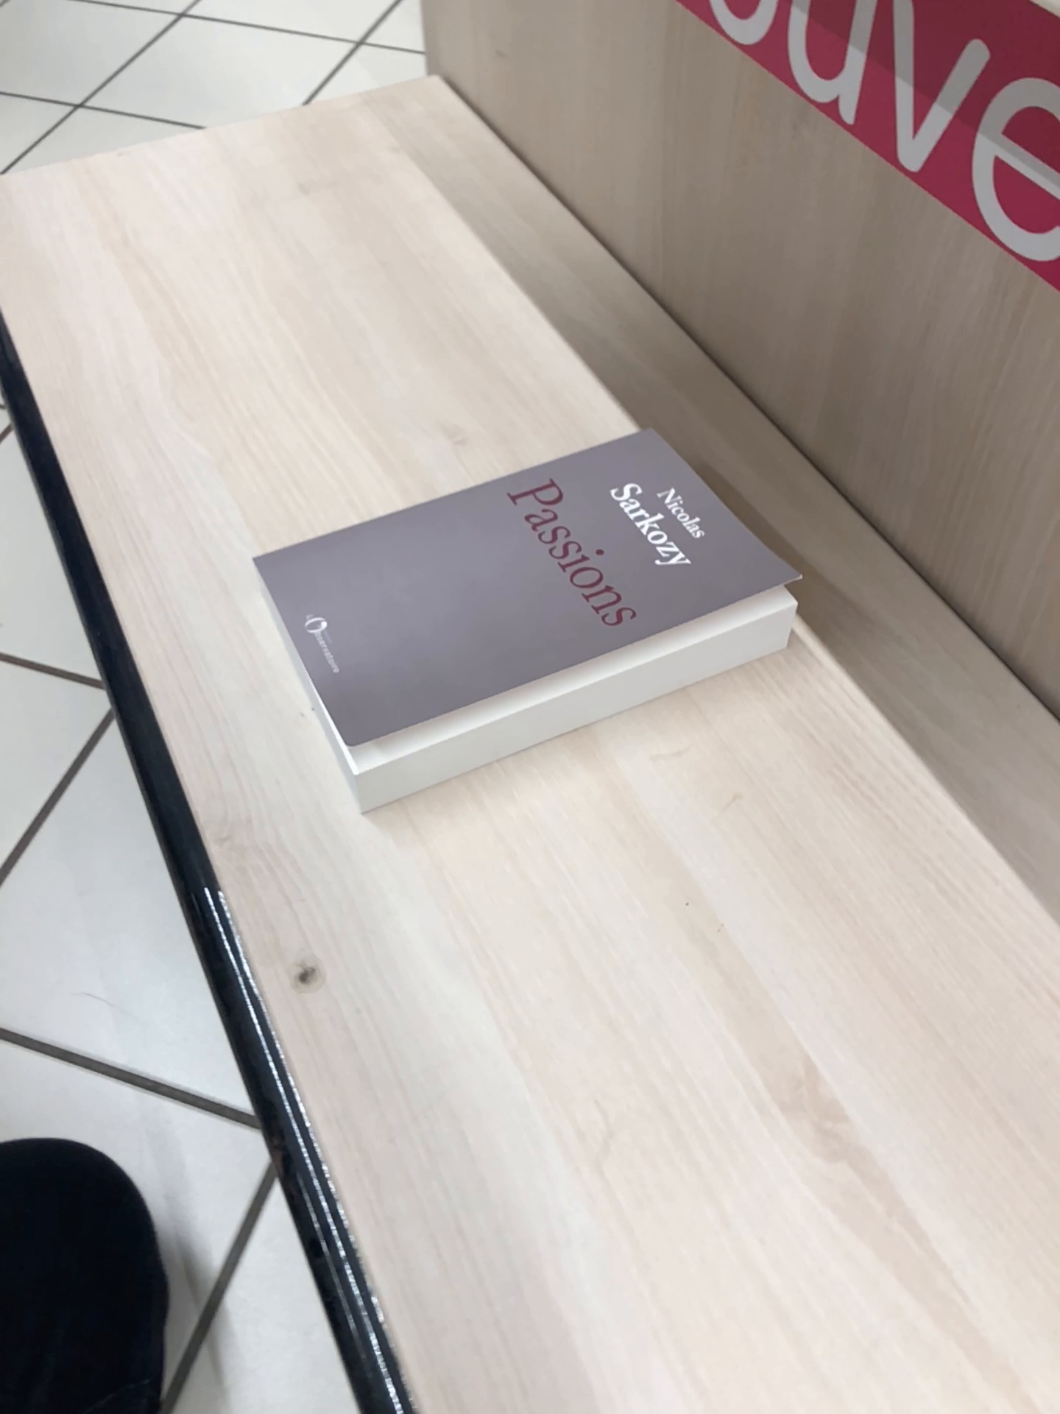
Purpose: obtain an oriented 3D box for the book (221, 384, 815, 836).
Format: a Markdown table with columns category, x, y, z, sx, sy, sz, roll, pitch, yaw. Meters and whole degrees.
| category | x | y | z | sx | sy | sz | roll | pitch | yaw |
| --- | --- | --- | --- | --- | --- | --- | --- | --- | --- |
| book | -0.008 | -0.056 | 0.549 | 0.225 | 0.044 | 0.157 | -22 | 56 | -15 |
